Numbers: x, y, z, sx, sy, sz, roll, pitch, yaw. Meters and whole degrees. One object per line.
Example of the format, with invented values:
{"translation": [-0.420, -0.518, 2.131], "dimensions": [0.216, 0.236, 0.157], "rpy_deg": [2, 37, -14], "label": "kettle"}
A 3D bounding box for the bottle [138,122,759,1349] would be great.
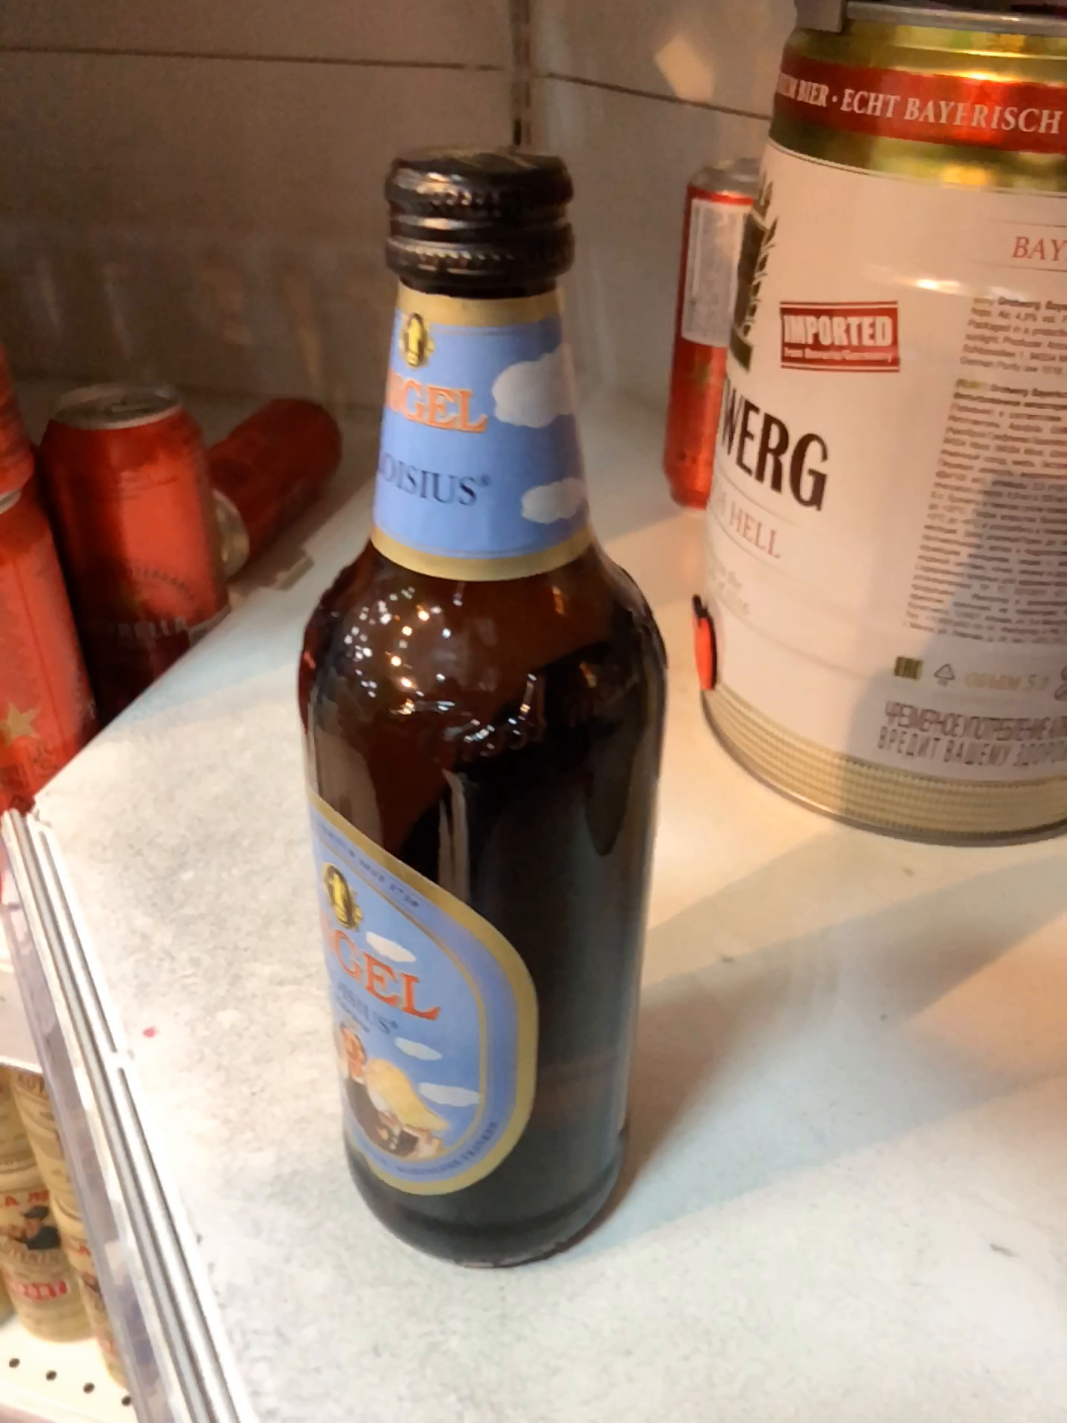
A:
{"translation": [-0.015, 0.015, 0.226], "dimensions": [0.060, 0.219, 0.070], "rpy_deg": [-19, 38, -27], "label": "bottle"}
